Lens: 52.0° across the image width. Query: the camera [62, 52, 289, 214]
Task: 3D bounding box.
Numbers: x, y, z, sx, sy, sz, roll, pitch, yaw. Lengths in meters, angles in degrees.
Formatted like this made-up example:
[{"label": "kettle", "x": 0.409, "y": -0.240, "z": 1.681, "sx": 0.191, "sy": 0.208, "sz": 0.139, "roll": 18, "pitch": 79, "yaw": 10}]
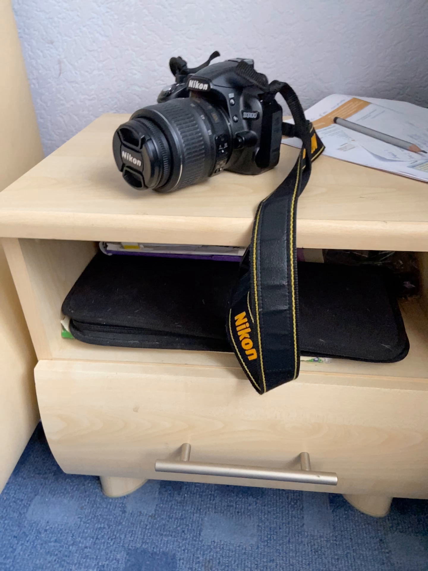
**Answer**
[{"label": "camera", "x": -0.028, "y": -0.147, "z": 0.396, "sx": 0.118, "sy": 0.091, "sz": 0.152, "roll": 26, "pitch": 42, "yaw": 34}]
